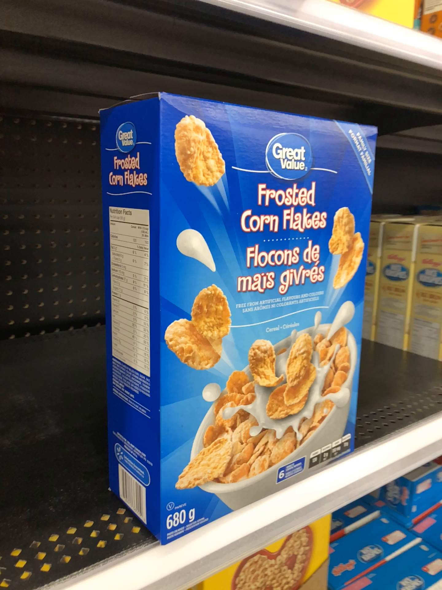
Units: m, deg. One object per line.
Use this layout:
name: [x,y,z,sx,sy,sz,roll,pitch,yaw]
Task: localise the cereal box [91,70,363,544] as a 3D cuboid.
cereal box: [0.012,0.002,0.409,0.210,0.309,0.080,-8,14,-39]
